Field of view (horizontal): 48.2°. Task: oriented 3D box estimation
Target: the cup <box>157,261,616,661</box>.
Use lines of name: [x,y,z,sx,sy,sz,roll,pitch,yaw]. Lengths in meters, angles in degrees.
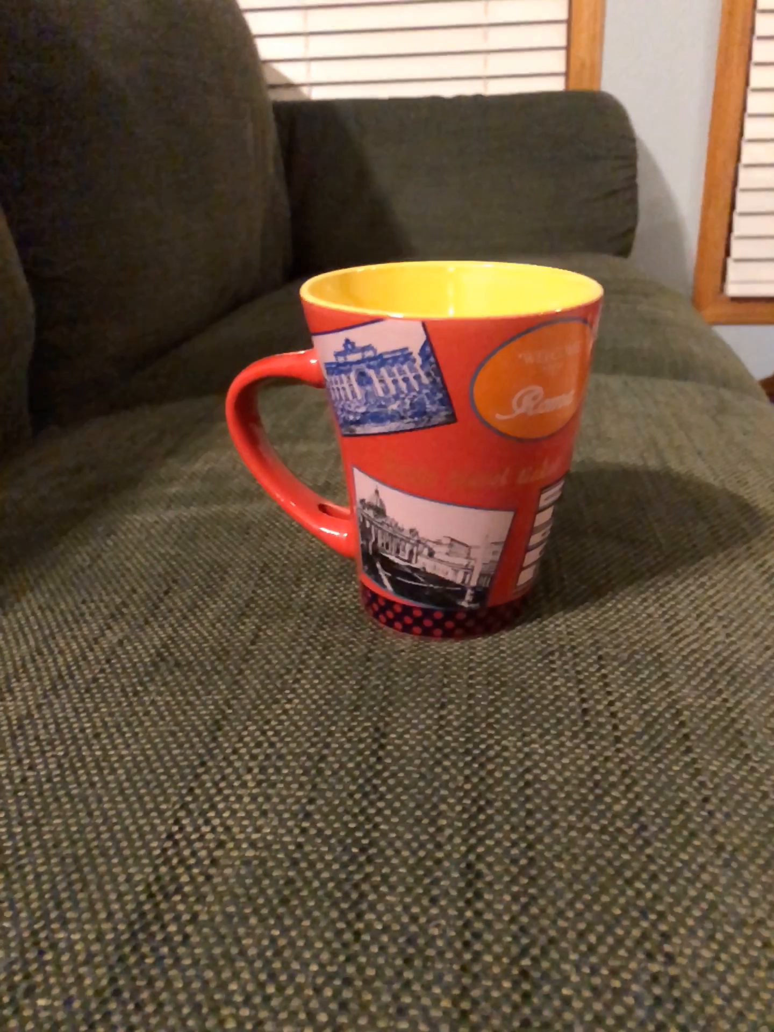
cup: [0.007,-0.027,0.286,0.120,0.100,0.090,5,23,17]
